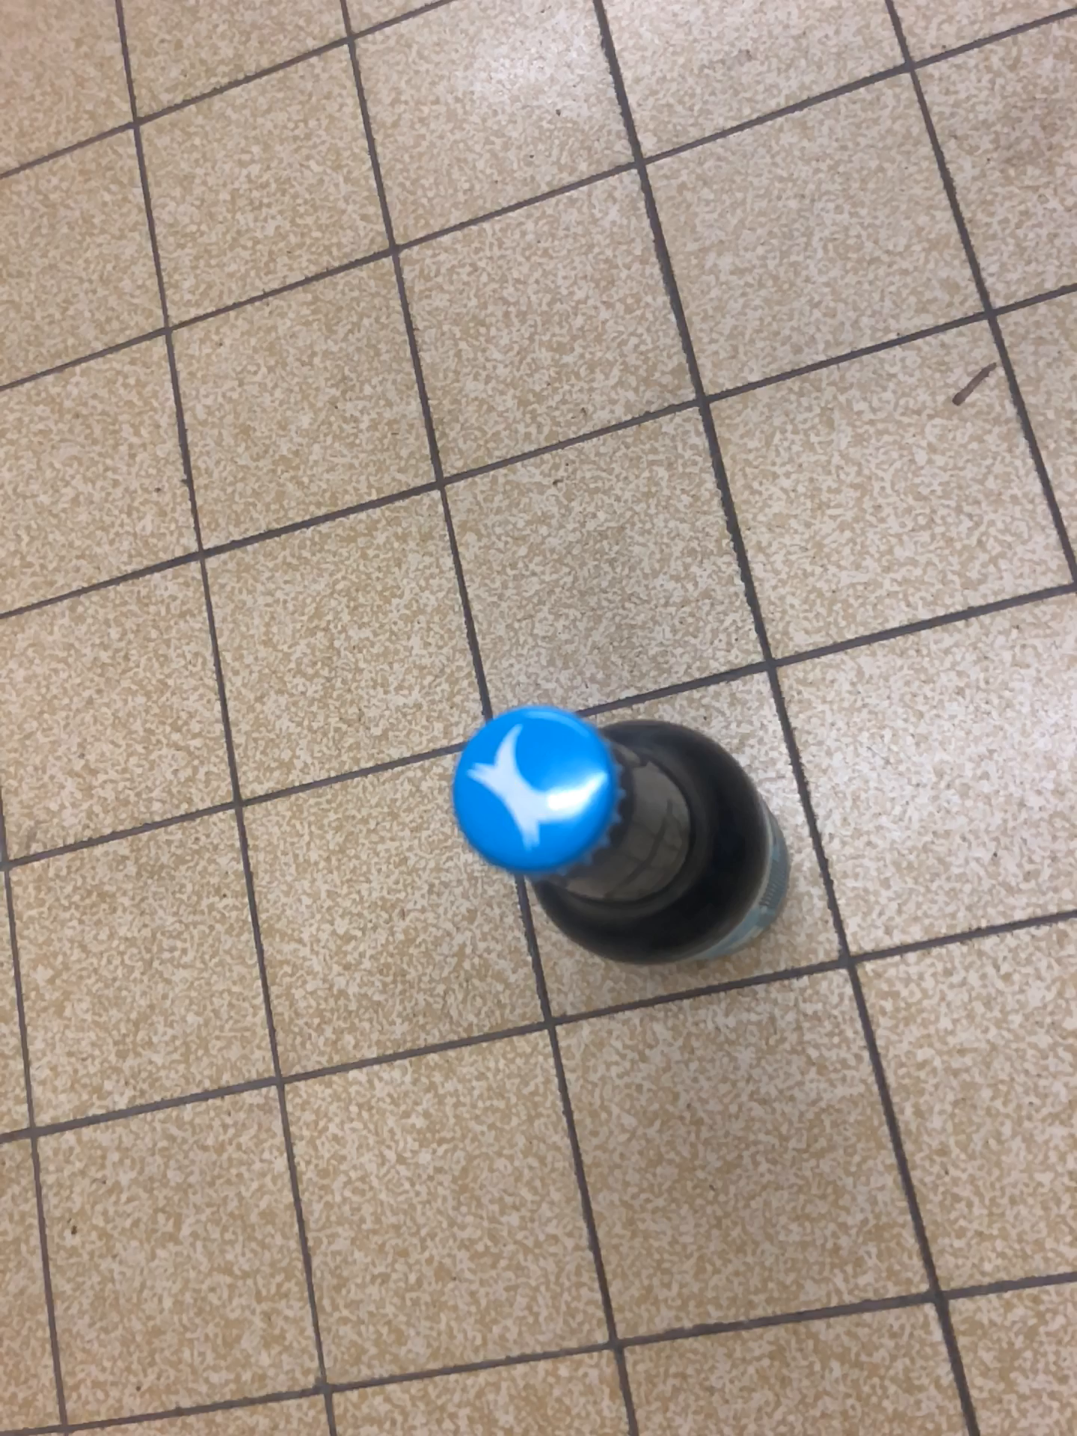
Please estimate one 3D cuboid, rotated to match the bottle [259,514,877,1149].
[{"bbox_3d":[0.028,0.033,0.283,0.070,0.210,0.070,-3,80,14],"label":"bottle"}]
